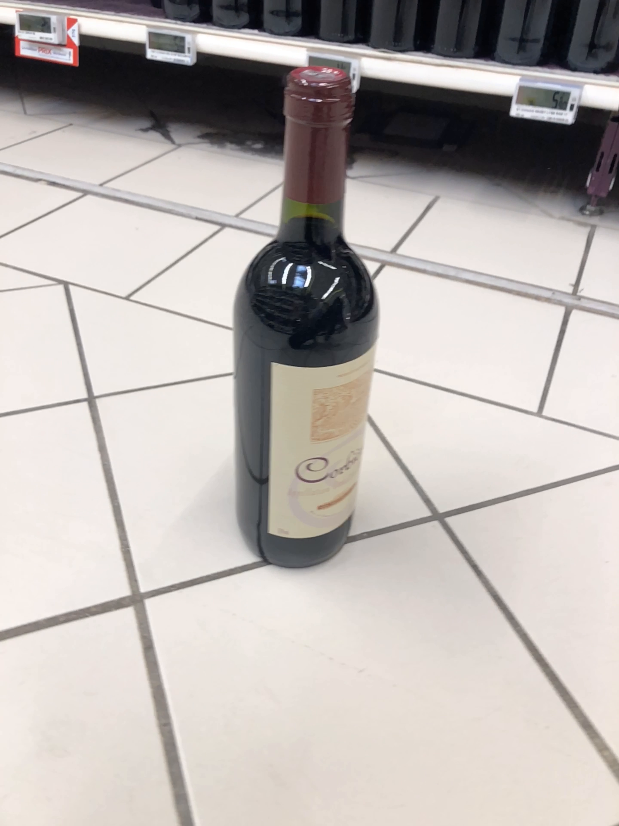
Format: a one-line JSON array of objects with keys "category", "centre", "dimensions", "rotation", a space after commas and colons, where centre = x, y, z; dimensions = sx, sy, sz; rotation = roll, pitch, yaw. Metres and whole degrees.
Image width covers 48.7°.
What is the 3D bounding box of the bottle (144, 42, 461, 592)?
[{"category": "bottle", "centre": [-0.008, -0.039, 0.350], "dimensions": [0.091, 0.248, 0.090], "rotation": [2, 38, -2]}]
